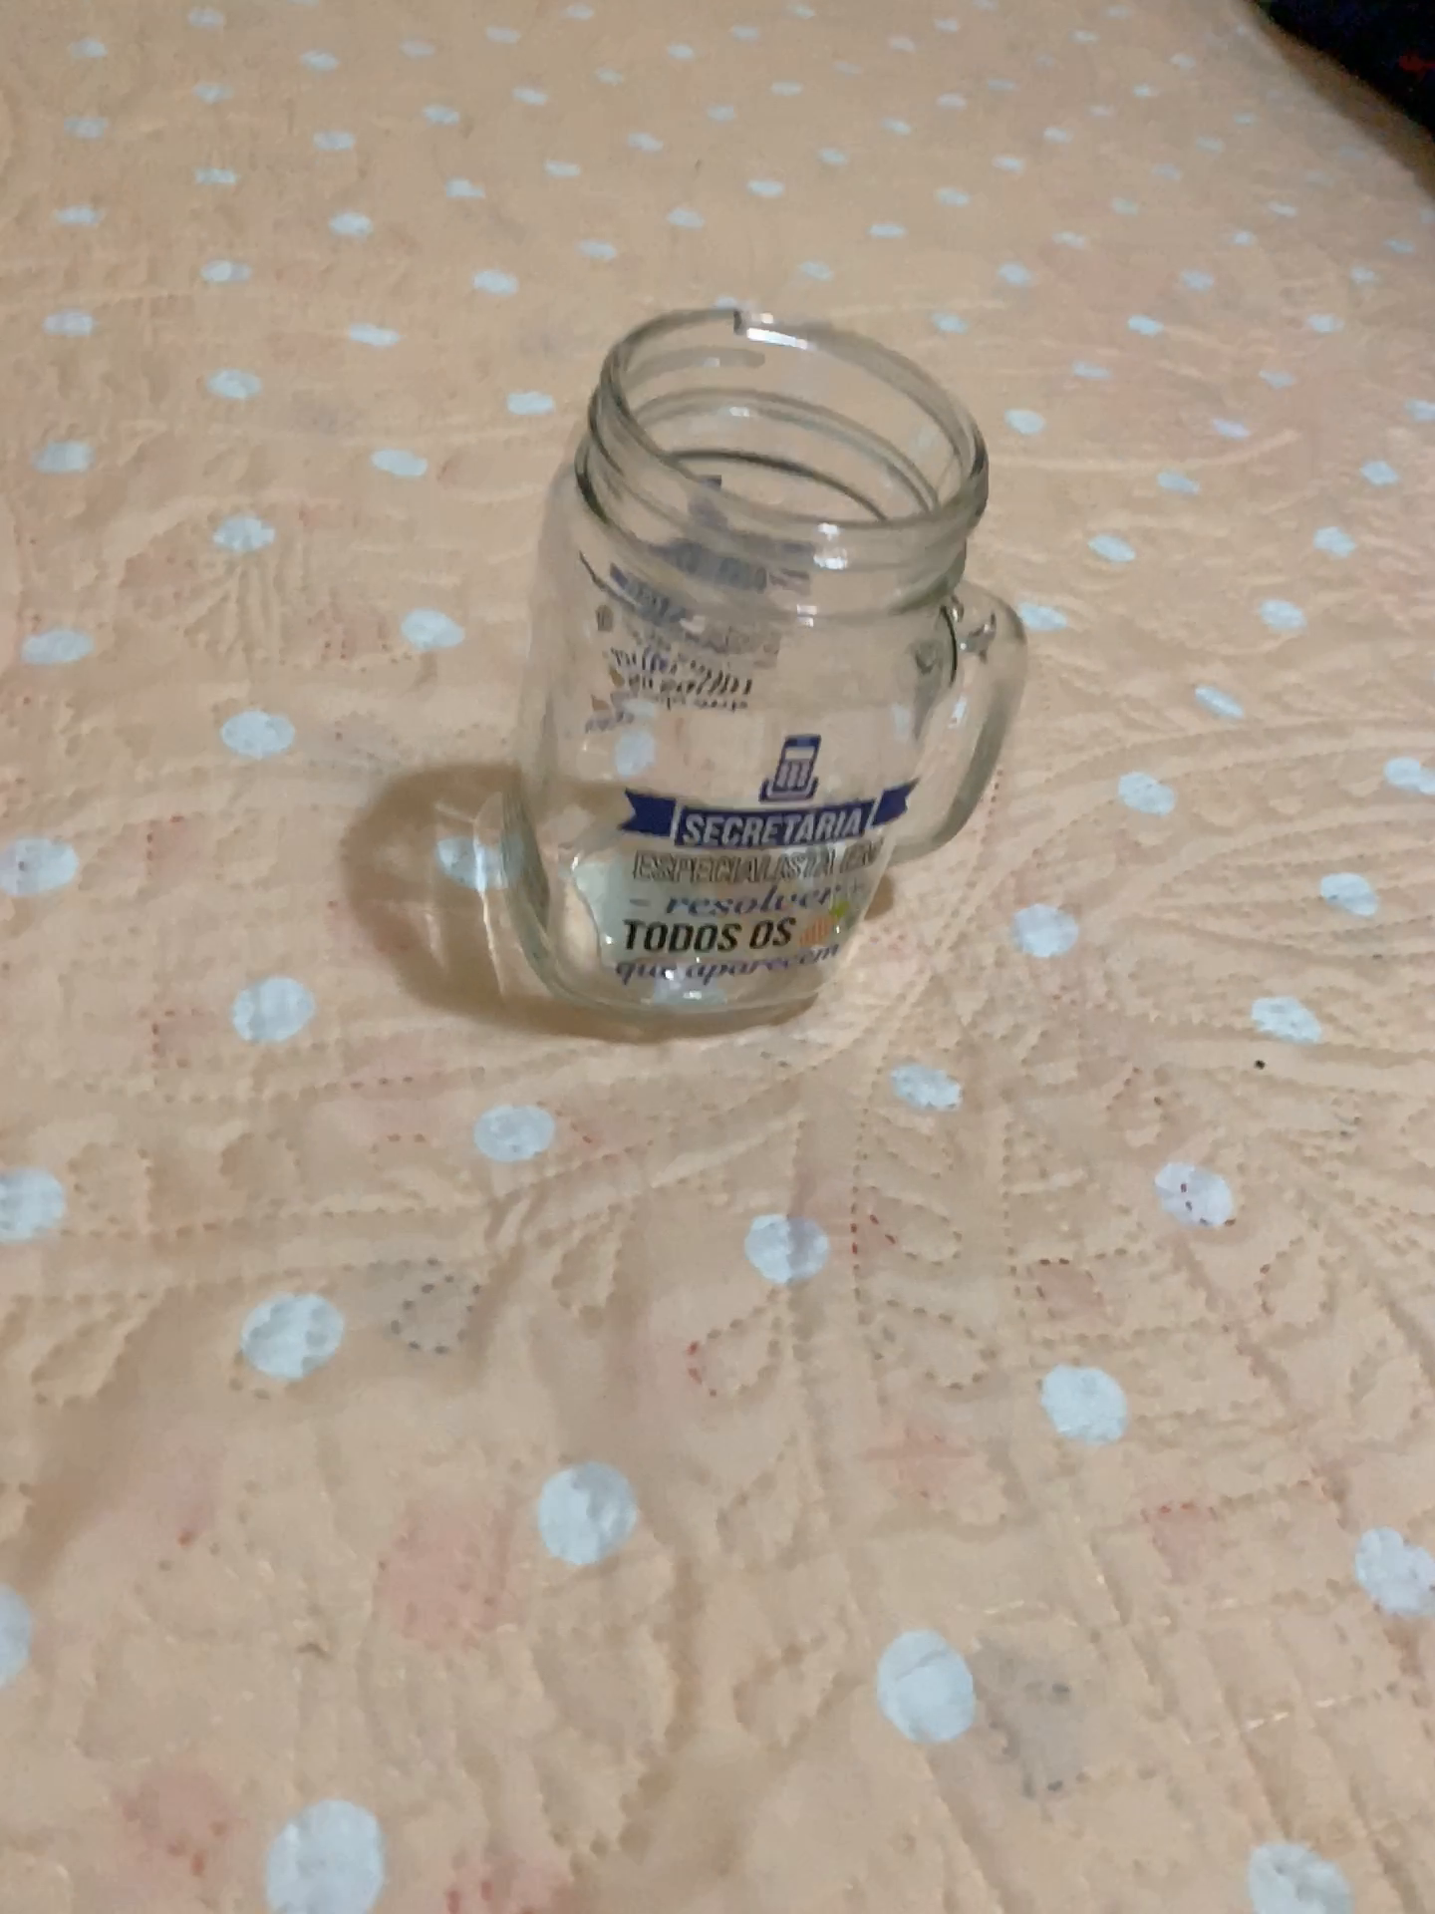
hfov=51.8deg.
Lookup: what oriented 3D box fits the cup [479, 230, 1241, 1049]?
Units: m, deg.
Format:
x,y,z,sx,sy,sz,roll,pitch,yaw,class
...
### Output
x,y,z,sx,sy,sz,roll,pitch,yaw,class
0.012,-0.052,0.278,0.100,0.119,0.080,0,47,-15,cup
